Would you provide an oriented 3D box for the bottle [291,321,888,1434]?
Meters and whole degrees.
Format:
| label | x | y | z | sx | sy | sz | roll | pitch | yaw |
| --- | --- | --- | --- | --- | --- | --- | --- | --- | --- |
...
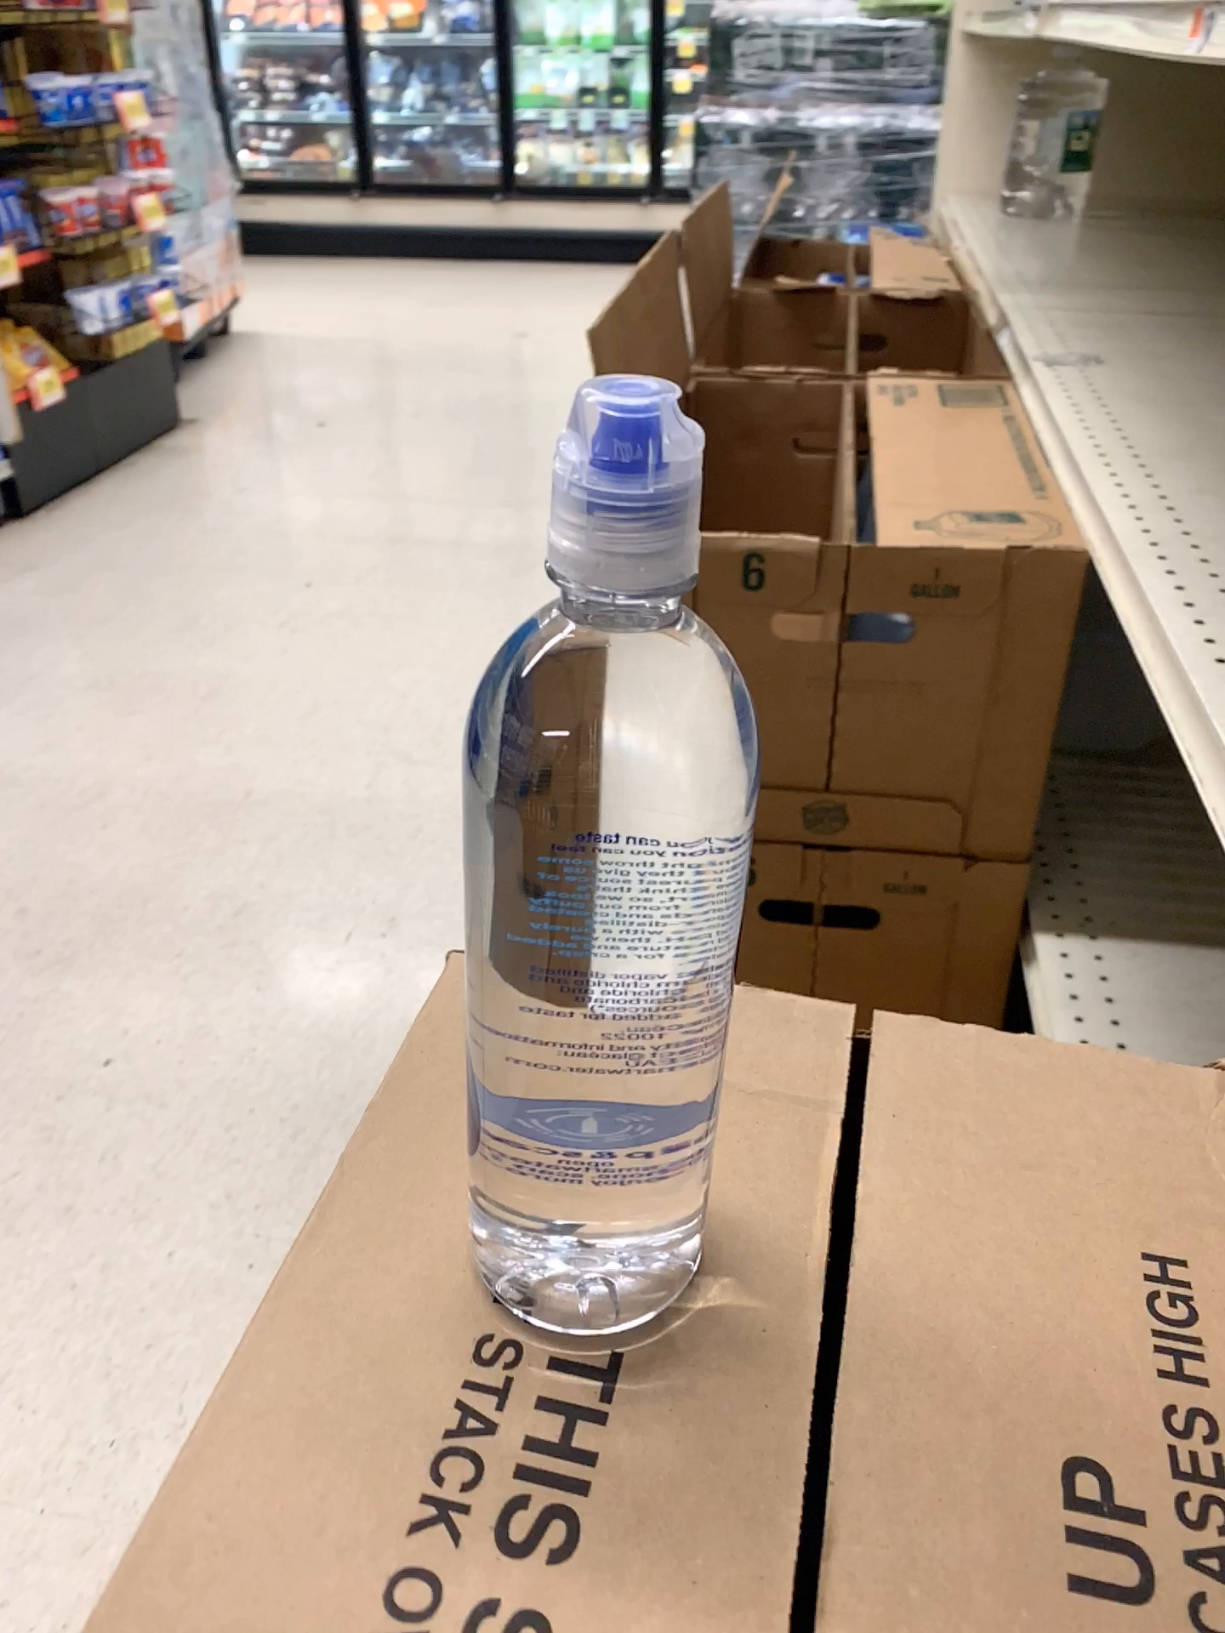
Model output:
| label | x | y | z | sx | sy | sz | roll | pitch | yaw |
| --- | --- | --- | --- | --- | --- | --- | --- | --- | --- |
| bottle | 0.002 | 0.022 | 0.305 | 0.090 | 0.249 | 0.090 | 0 | 32 | 0 |
